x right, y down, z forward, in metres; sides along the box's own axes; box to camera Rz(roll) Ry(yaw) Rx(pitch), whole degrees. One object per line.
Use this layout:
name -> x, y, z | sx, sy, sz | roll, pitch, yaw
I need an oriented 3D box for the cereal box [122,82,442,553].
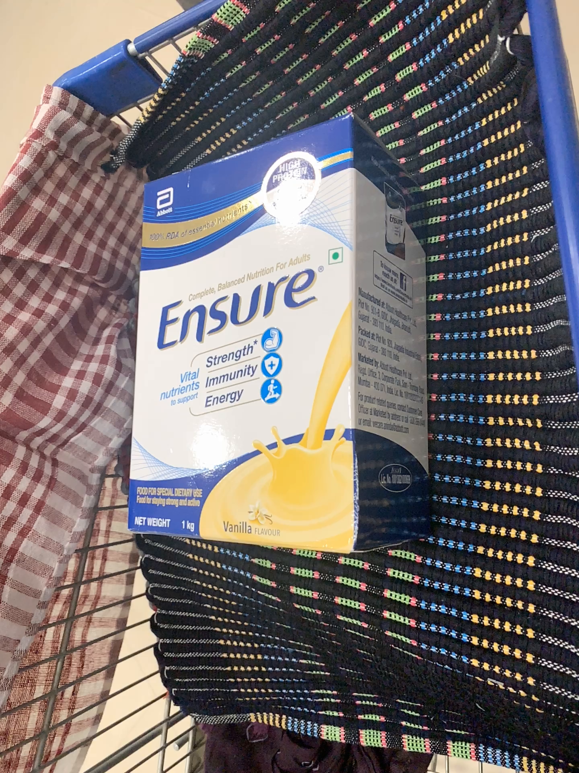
cereal box -> -0.001, -0.026, 0.346 | 0.151, 0.090, 0.220 | -4, 78, 33
